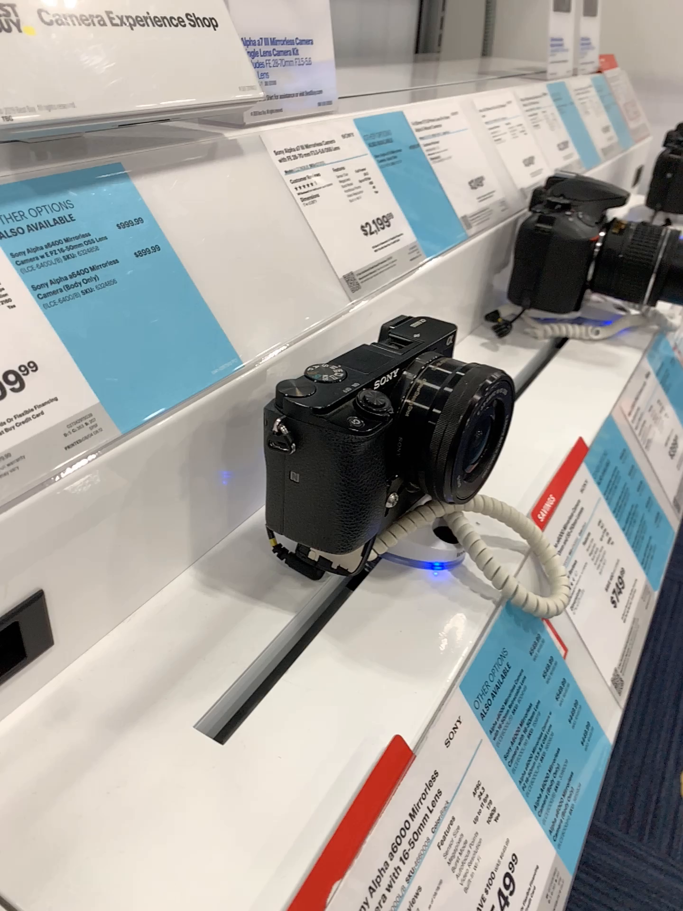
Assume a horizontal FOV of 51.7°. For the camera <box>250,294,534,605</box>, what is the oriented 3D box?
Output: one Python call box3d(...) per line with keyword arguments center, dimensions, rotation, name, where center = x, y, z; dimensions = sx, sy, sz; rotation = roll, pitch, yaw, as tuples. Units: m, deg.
box3d(center=(0.026, -0.011, 0.320), dimensions=(0.060, 0.080, 0.130), rotation=(23, 37, 28), name="camera")
